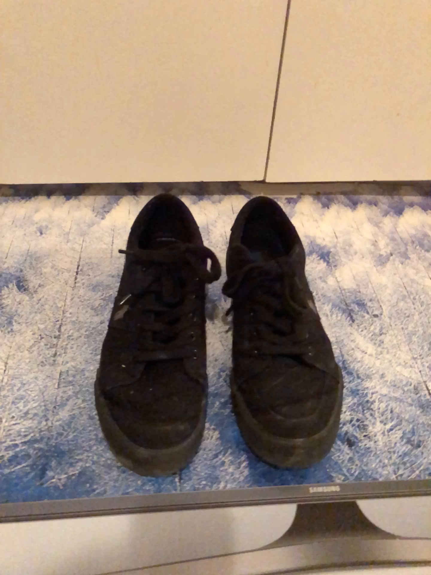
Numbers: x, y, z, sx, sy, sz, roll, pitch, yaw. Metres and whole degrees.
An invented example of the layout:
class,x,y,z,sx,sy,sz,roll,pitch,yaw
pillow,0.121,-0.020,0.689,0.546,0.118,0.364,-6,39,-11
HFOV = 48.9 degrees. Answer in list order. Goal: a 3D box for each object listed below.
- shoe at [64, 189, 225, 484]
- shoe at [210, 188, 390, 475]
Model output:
class,x,y,z,sx,sy,sz,roll,pitch,yaw
shoe,-0.058,0.030,0.460,0.110,0.109,0.272,-1,47,-4
shoe,0.058,0.026,0.457,0.110,0.109,0.262,-1,47,-4
